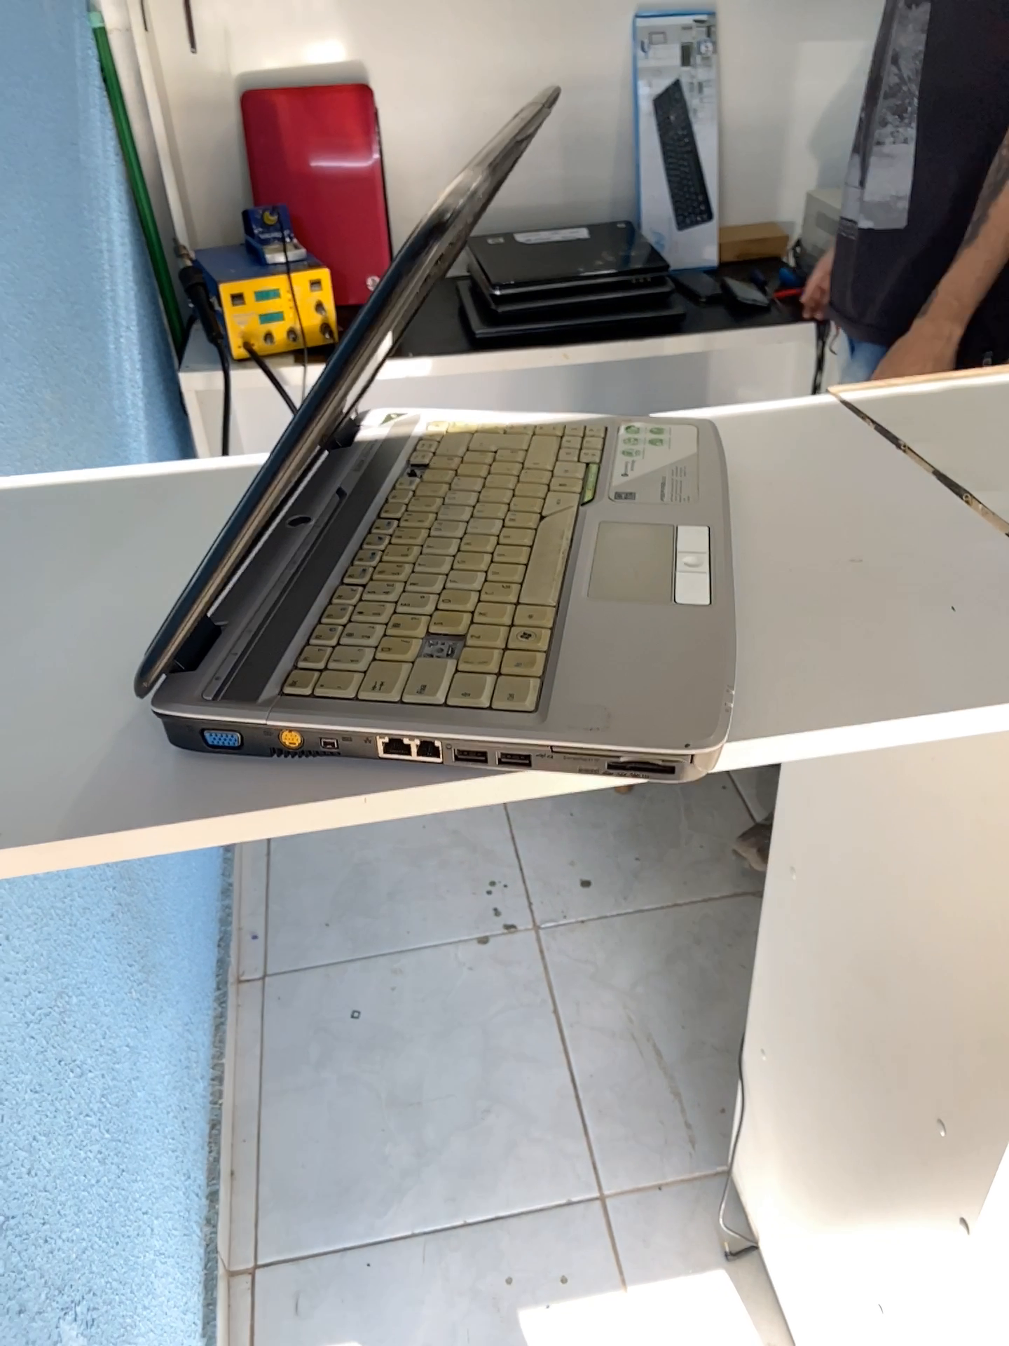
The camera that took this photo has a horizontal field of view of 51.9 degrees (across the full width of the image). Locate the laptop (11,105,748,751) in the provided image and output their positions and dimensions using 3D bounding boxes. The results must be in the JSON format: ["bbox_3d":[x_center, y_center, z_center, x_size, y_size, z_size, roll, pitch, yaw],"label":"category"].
[{"bbox_3d":[-0.012,-0.146,0.491,0.225,0.179,0.330,3,35,8],"label":"laptop"}]
